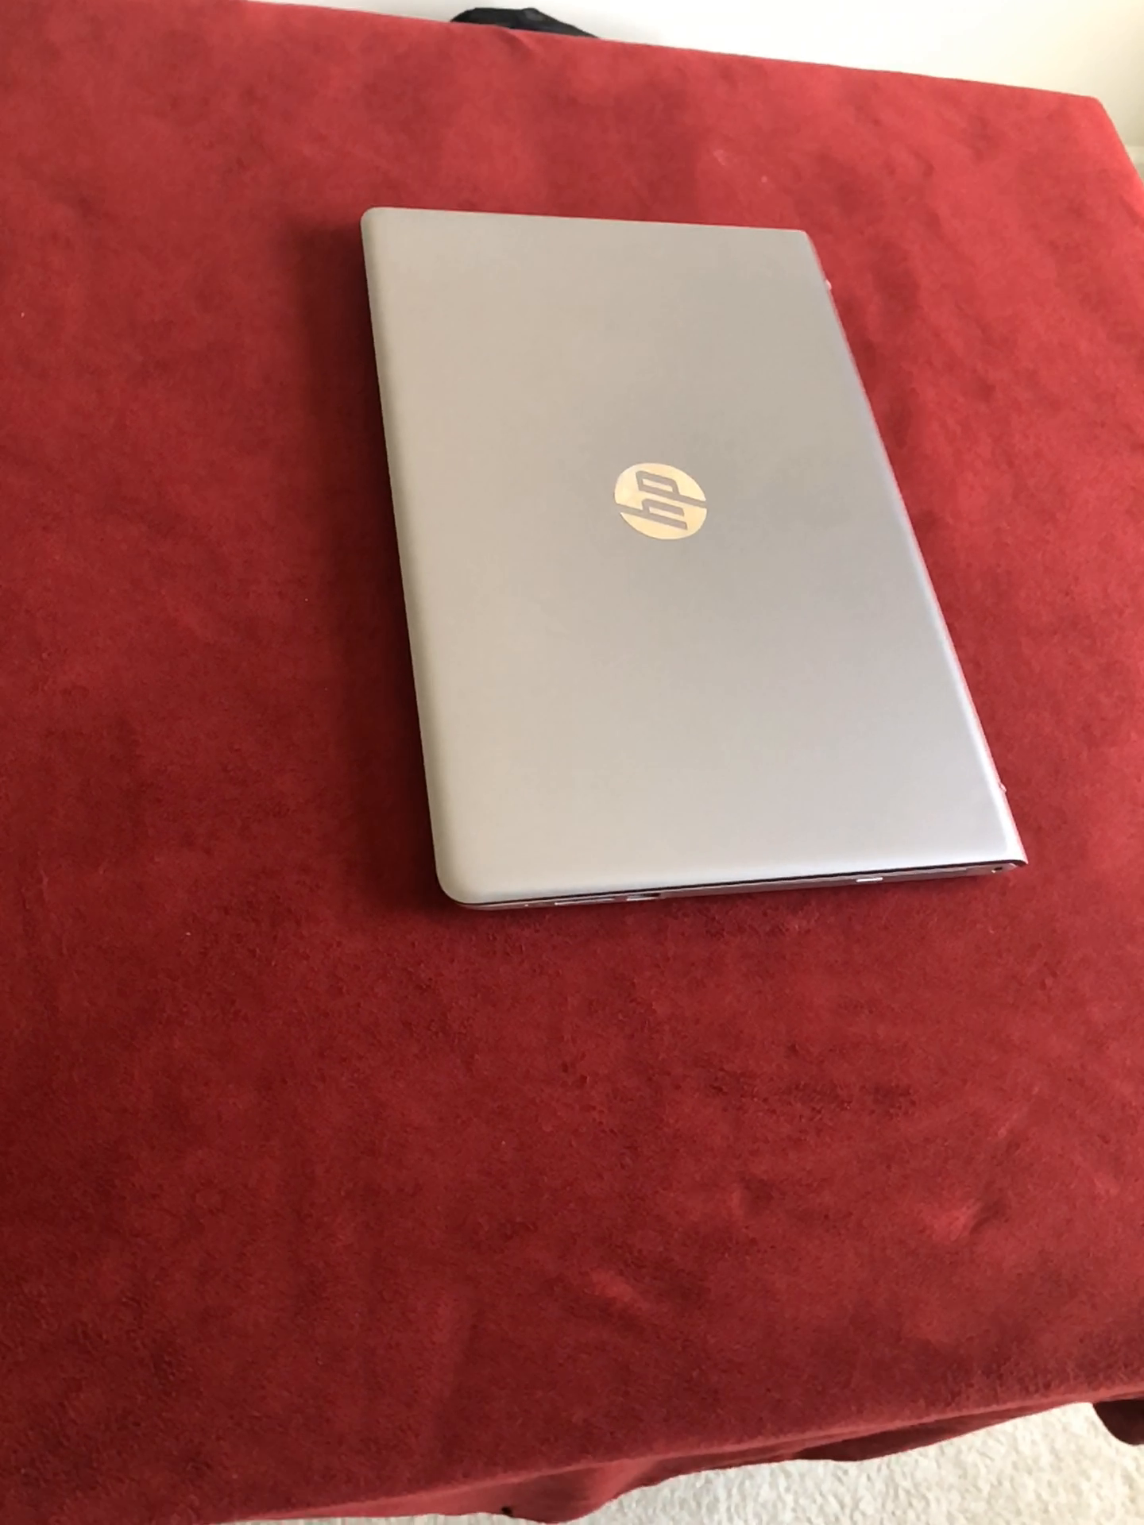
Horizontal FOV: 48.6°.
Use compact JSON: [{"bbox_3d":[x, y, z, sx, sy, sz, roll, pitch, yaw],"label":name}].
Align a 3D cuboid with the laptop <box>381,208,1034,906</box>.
[{"bbox_3d":[0.047,-0.119,0.581,0.233,0.006,0.372,-4,63,-13],"label":"laptop"}]
